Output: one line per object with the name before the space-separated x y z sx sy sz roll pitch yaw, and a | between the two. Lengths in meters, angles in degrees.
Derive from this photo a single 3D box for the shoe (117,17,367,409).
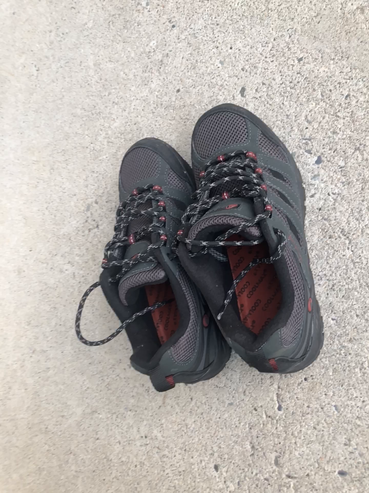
shoe | 0.047 -0.028 0.377 0.120 0.110 0.300 -22 72 26

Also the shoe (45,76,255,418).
shoe | -0.042 0.001 0.431 0.120 0.110 0.303 -22 72 26
